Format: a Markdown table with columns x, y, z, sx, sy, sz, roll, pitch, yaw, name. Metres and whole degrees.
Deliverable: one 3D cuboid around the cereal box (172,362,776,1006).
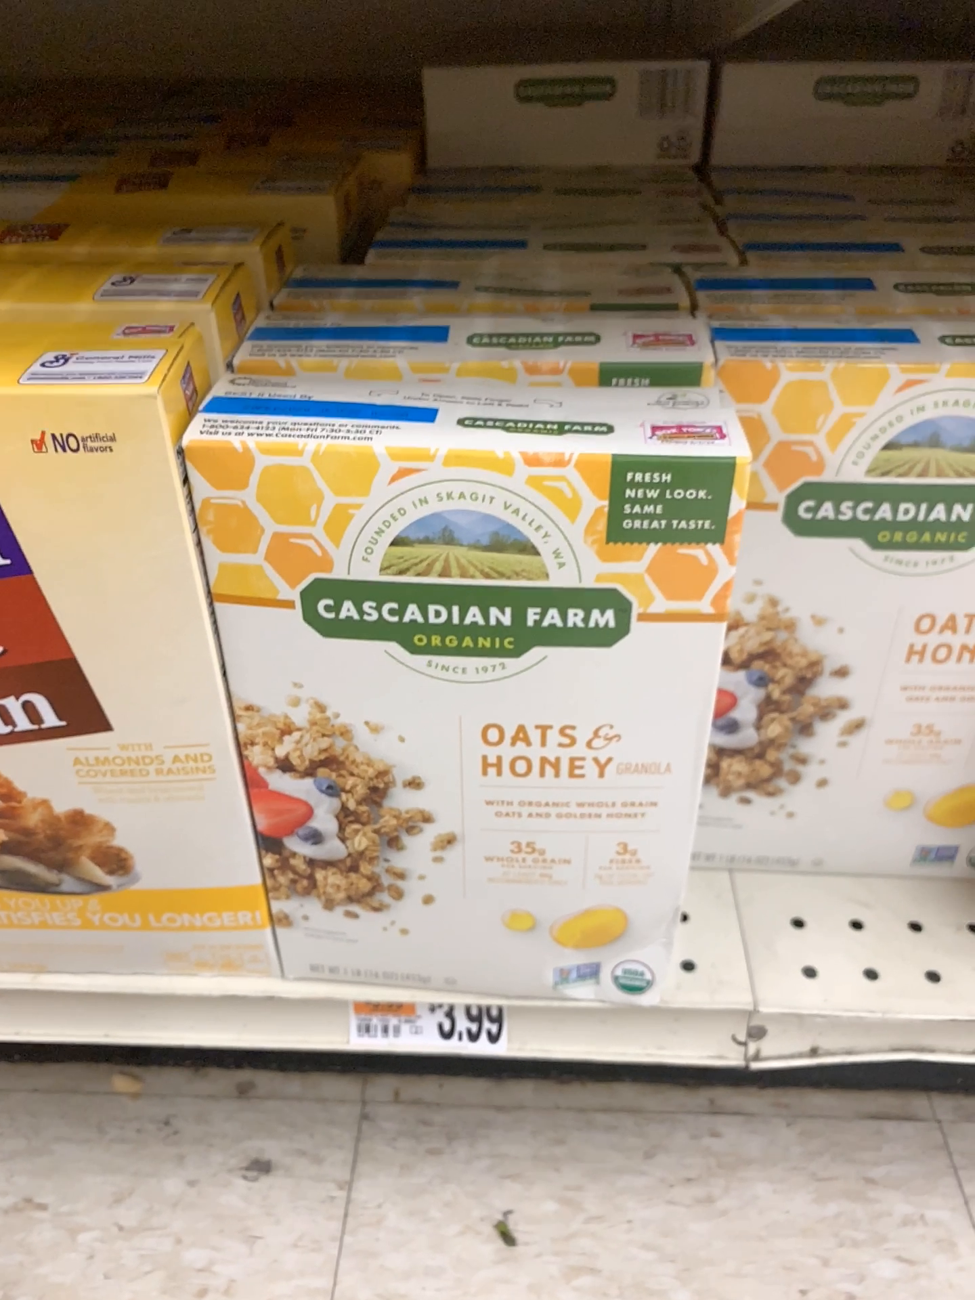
| x | y | z | sx | sy | sz | roll | pitch | yaw | name |
| --- | --- | --- | --- | --- | --- | --- | --- | --- | --- |
| -0.002 | 0.023 | 0.357 | 0.160 | 0.229 | 0.060 | 3 | 35 | 5 | cereal box |
